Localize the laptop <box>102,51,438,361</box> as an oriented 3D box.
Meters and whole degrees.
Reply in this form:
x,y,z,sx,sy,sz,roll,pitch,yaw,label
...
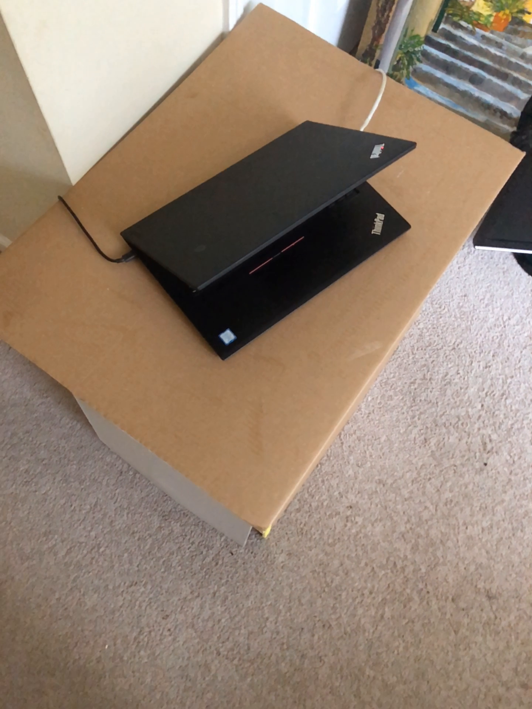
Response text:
x,y,z,sx,sy,sz,roll,pitch,yaw,label
0.005,-0.198,0.760,0.334,0.140,0.231,-36,73,-16,laptop
